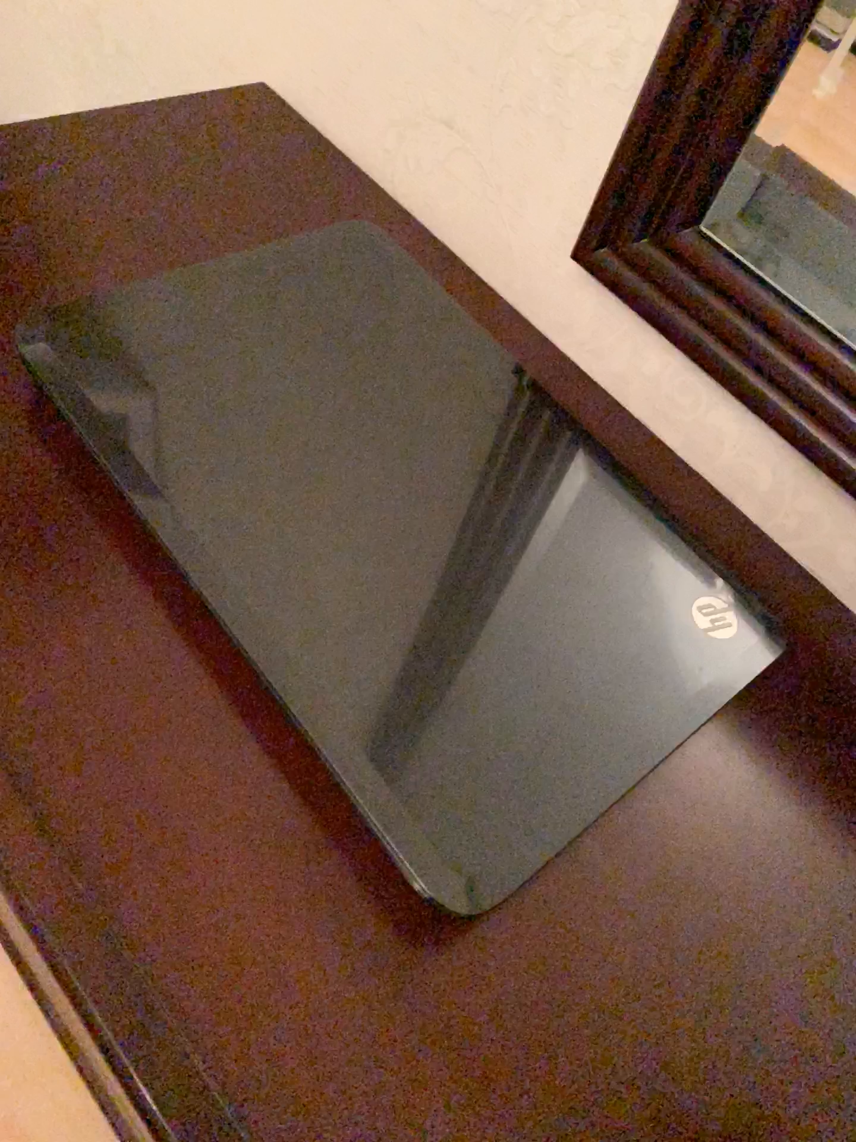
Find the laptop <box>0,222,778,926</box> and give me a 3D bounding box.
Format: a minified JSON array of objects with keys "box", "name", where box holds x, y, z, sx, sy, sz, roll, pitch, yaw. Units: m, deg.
[{"box":[-0.016,-0.039,0.434,0.224,0.007,0.341,-31,71,-31],"name":"laptop"}]
